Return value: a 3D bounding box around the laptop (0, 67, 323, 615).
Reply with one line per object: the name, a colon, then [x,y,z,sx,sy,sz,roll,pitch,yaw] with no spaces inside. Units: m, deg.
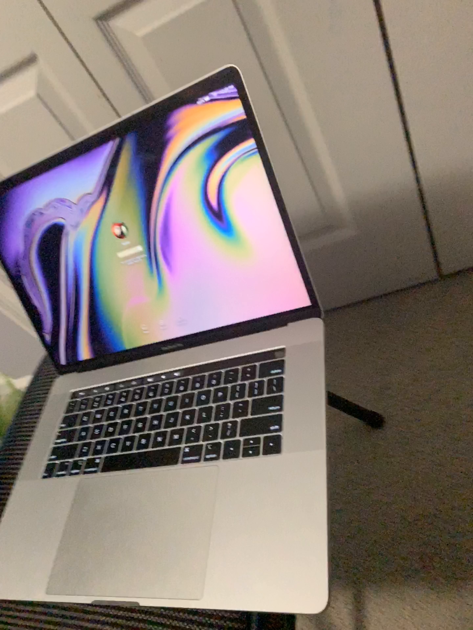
laptop: [-0.122,0.030,0.419,0.342,0.194,0.353,-14,47,25]
